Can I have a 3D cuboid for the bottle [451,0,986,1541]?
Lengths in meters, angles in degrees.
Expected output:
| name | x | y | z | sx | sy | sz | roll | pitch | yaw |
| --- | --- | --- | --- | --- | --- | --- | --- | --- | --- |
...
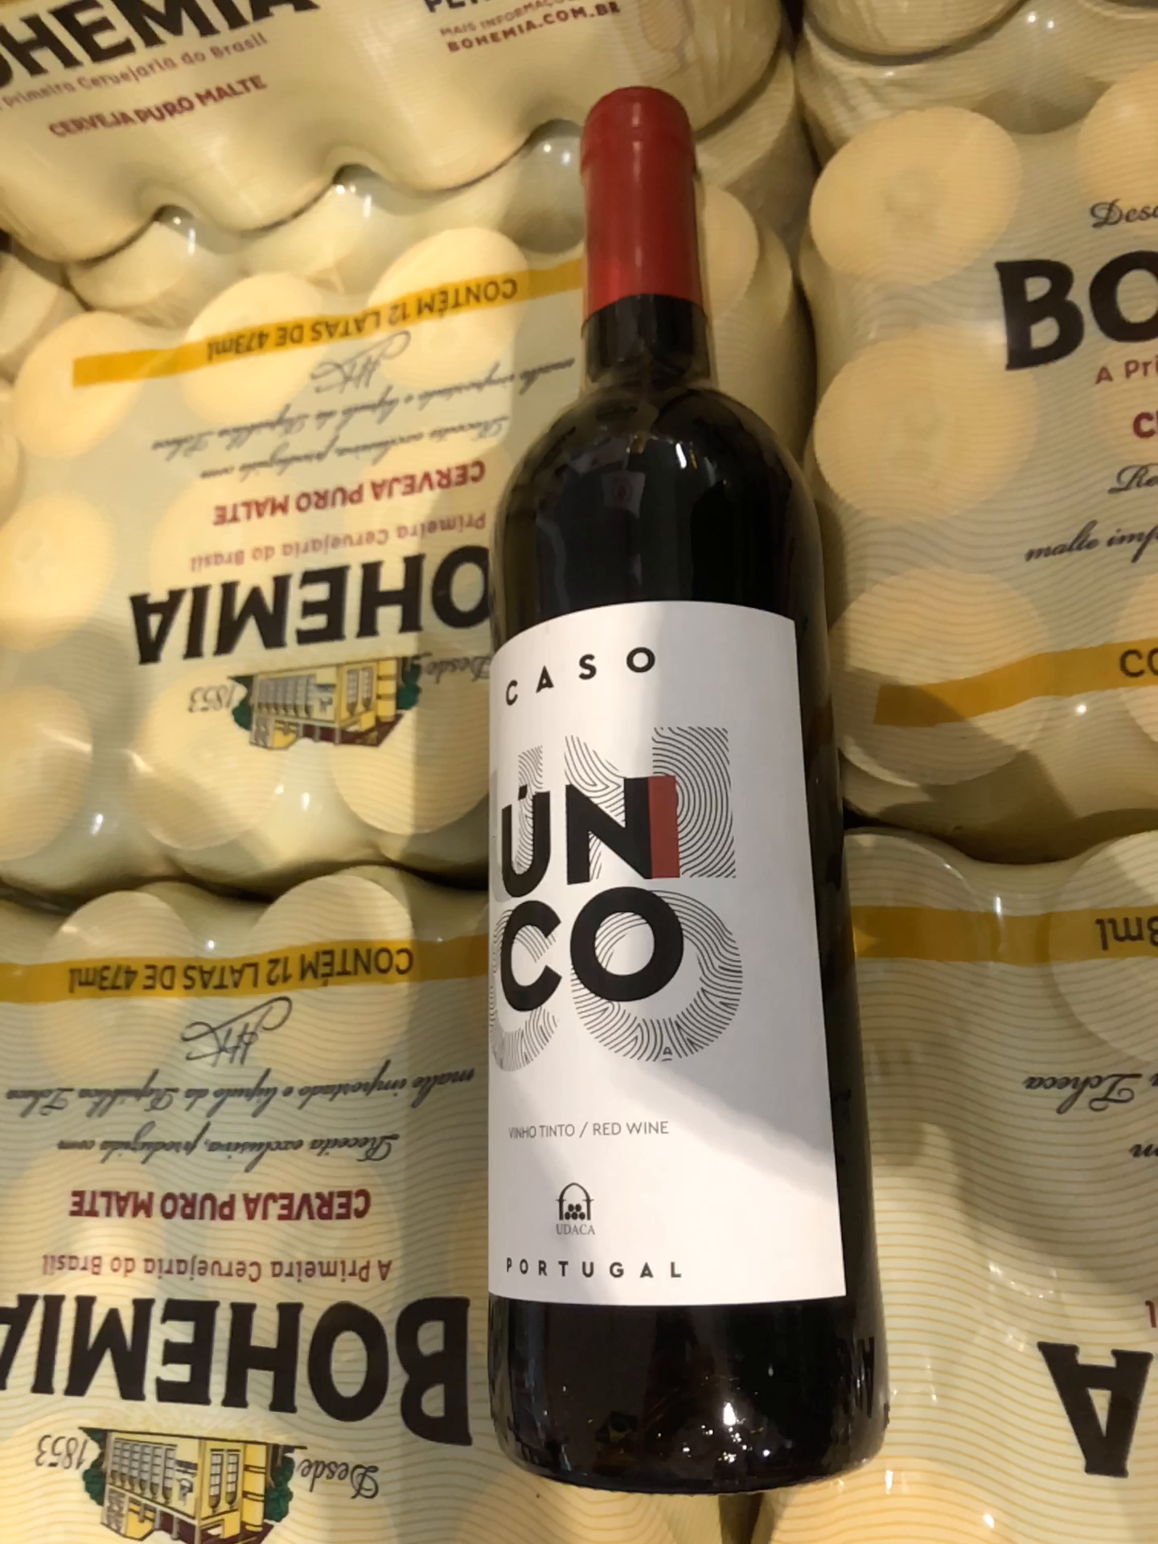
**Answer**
| name | x | y | z | sx | sy | sz | roll | pitch | yaw |
| --- | --- | --- | --- | --- | --- | --- | --- | --- | --- |
| bottle | 0.024 | -0.034 | 0.277 | 0.080 | 0.070 | 0.330 | -7 | 73 | 19 |
